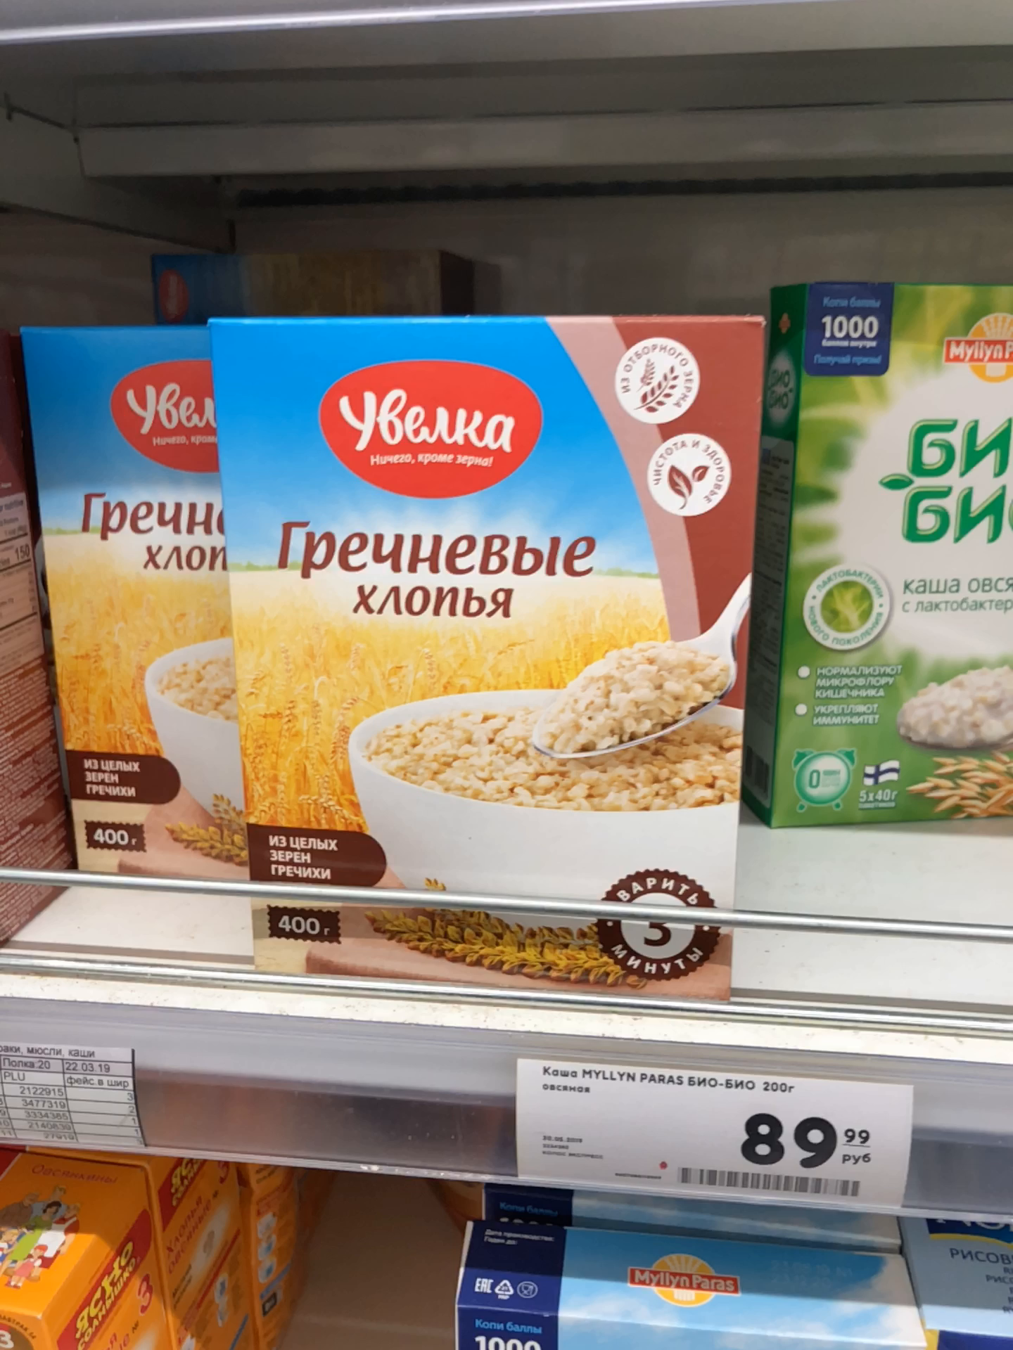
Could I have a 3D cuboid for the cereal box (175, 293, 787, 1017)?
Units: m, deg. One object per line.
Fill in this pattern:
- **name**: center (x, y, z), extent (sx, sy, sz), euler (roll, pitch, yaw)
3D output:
- **cereal box**: center (-0.004, -0.008, 0.326), extent (0.150, 0.189, 0.060), euler (2, 15, 8)
